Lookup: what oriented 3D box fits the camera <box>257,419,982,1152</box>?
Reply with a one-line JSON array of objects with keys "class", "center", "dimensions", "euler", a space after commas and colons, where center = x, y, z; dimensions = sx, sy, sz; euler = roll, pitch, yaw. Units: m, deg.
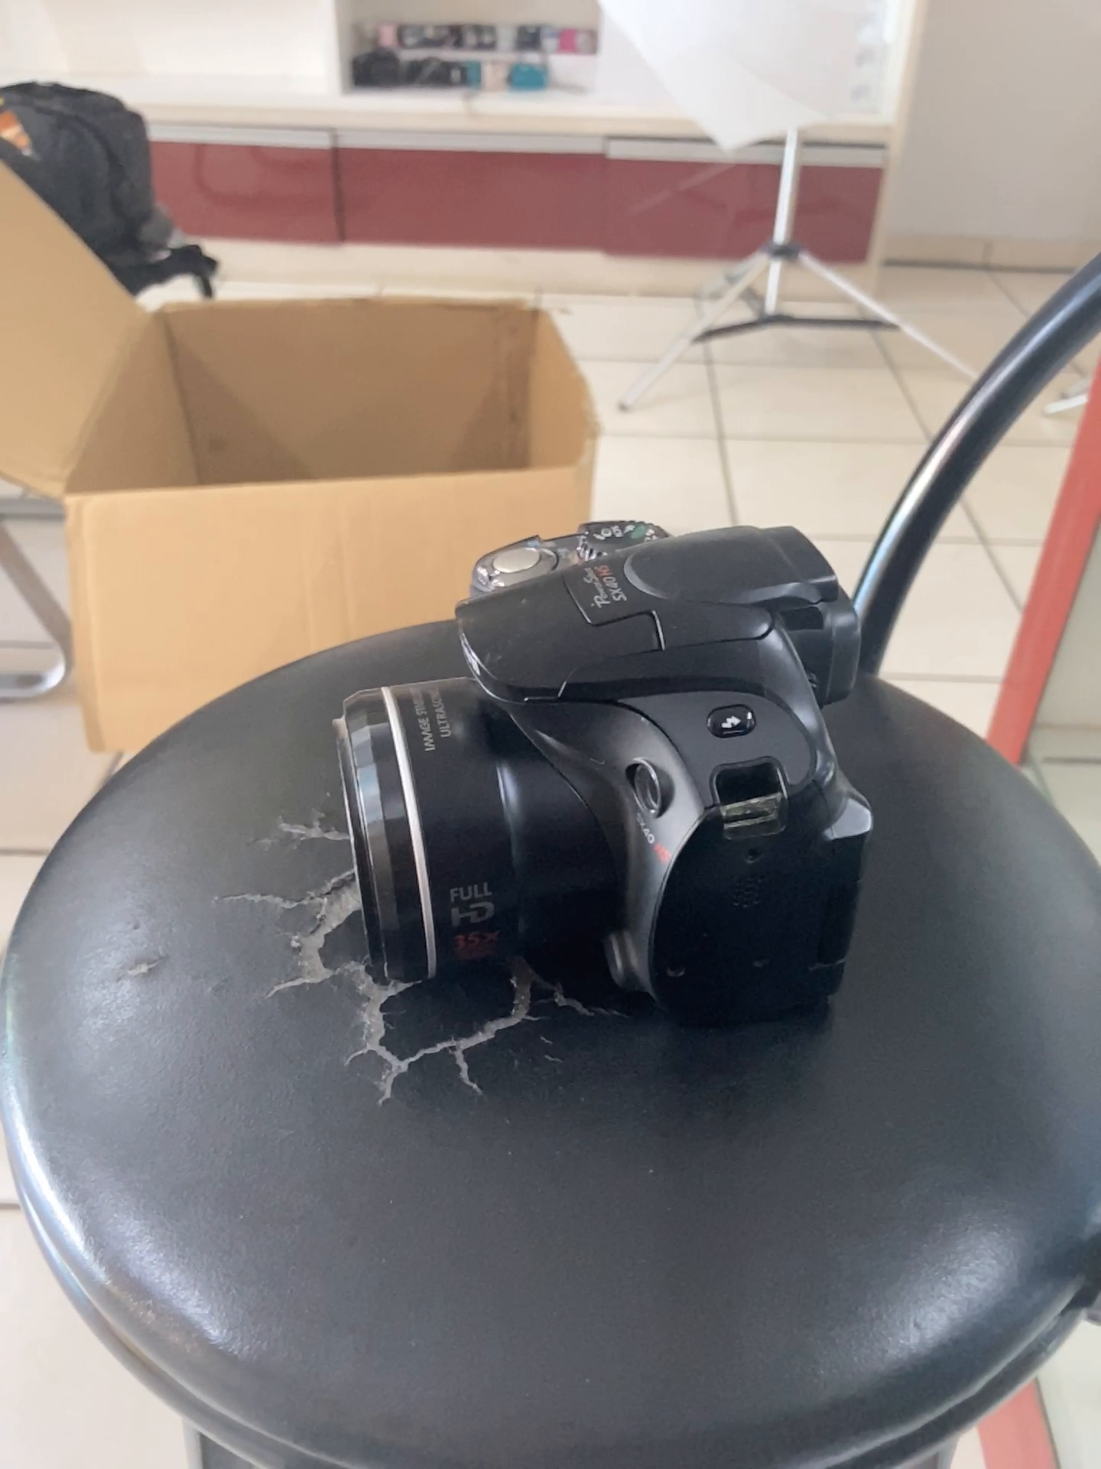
[{"class": "camera", "center": [0.003, 0.001, 0.255], "dimensions": [0.110, 0.089, 0.121], "euler": [-11, 38, -14]}]
